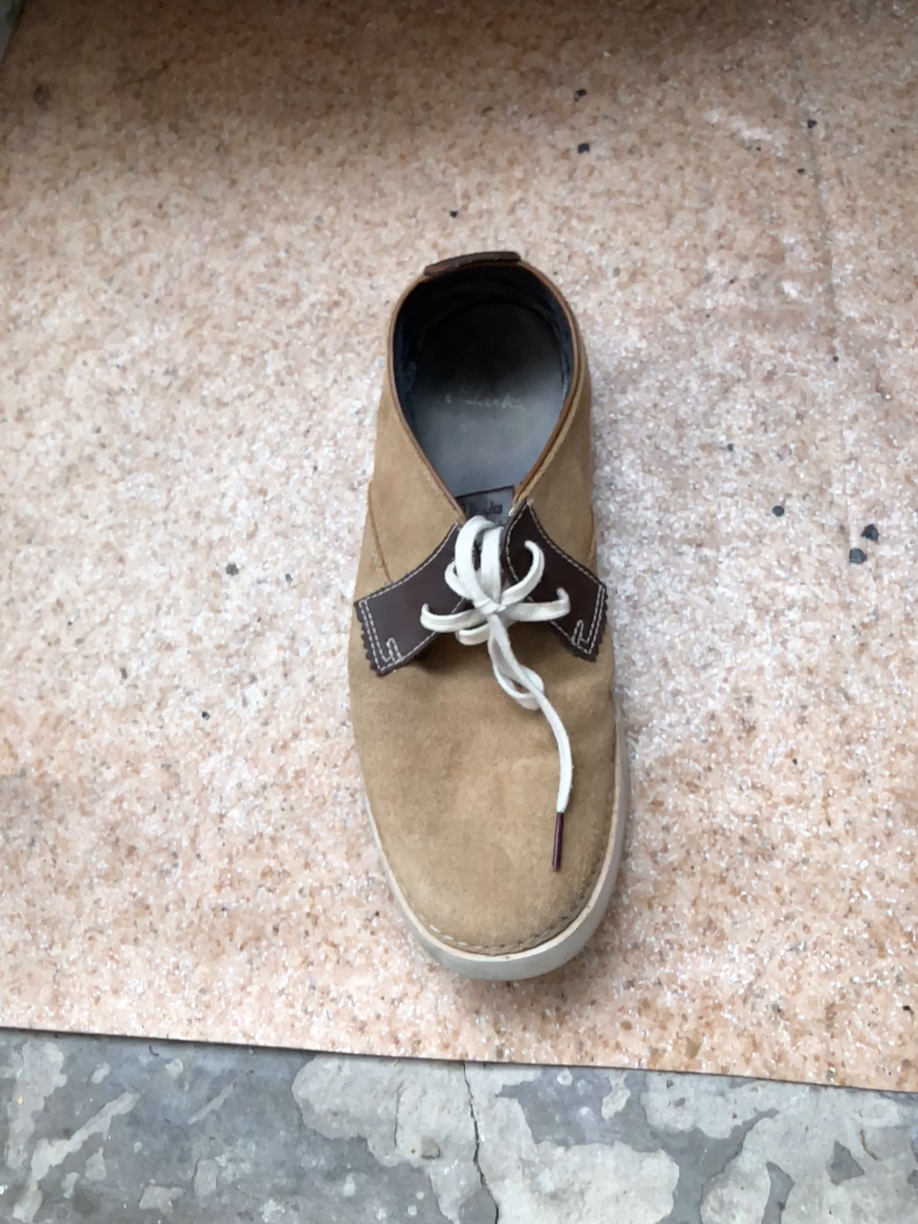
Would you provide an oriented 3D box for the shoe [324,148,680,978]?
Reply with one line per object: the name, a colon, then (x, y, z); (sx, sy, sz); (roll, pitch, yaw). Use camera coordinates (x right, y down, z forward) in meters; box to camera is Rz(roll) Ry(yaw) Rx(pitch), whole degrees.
shoe: (0.021, -0.020, 0.398); (0.110, 0.090, 0.301); (-2, 73, 10)
